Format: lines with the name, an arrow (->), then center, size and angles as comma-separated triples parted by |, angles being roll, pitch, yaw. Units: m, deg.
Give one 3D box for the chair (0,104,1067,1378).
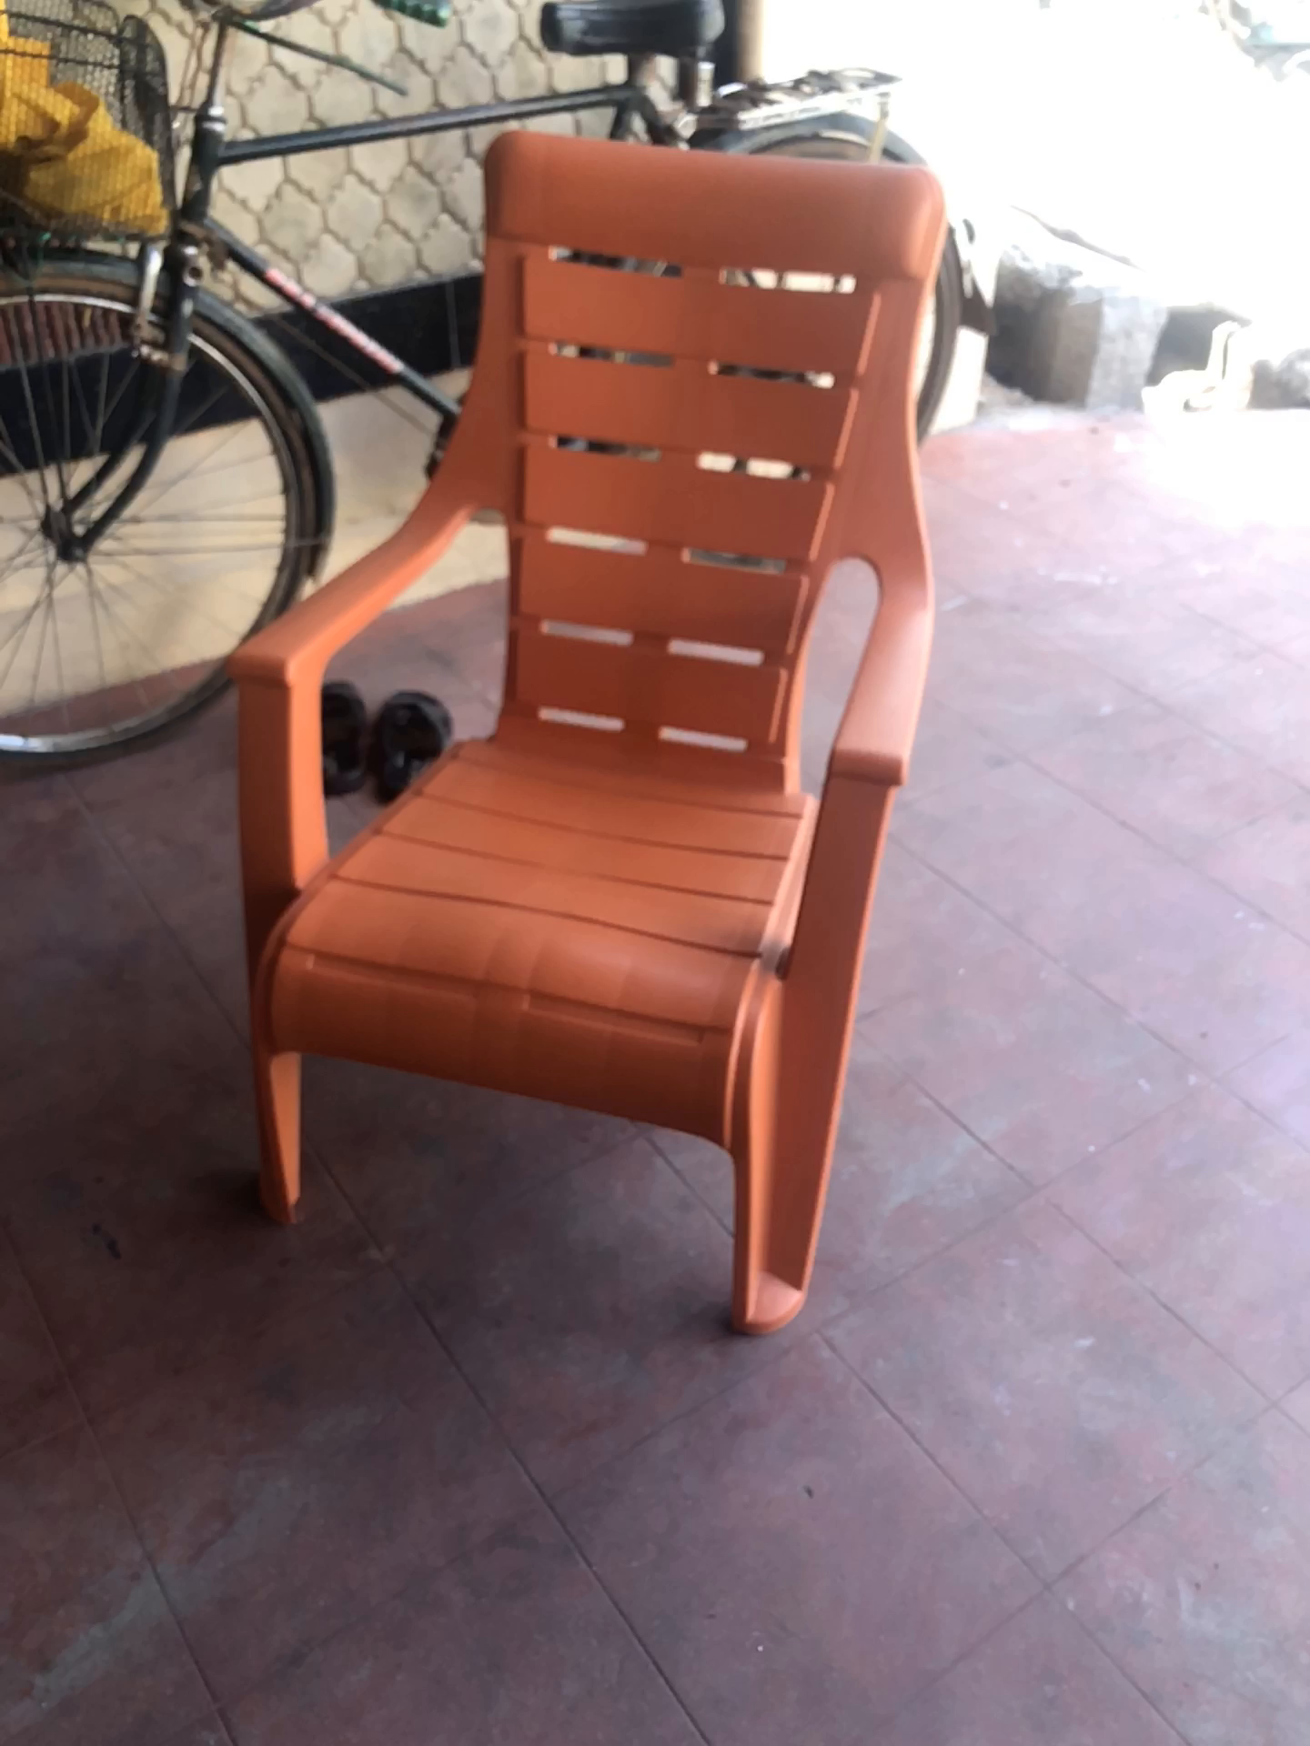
chair -> -0.059, -0.168, 1.335 | 0.690, 0.786, 0.764 | 9, 39, 11
